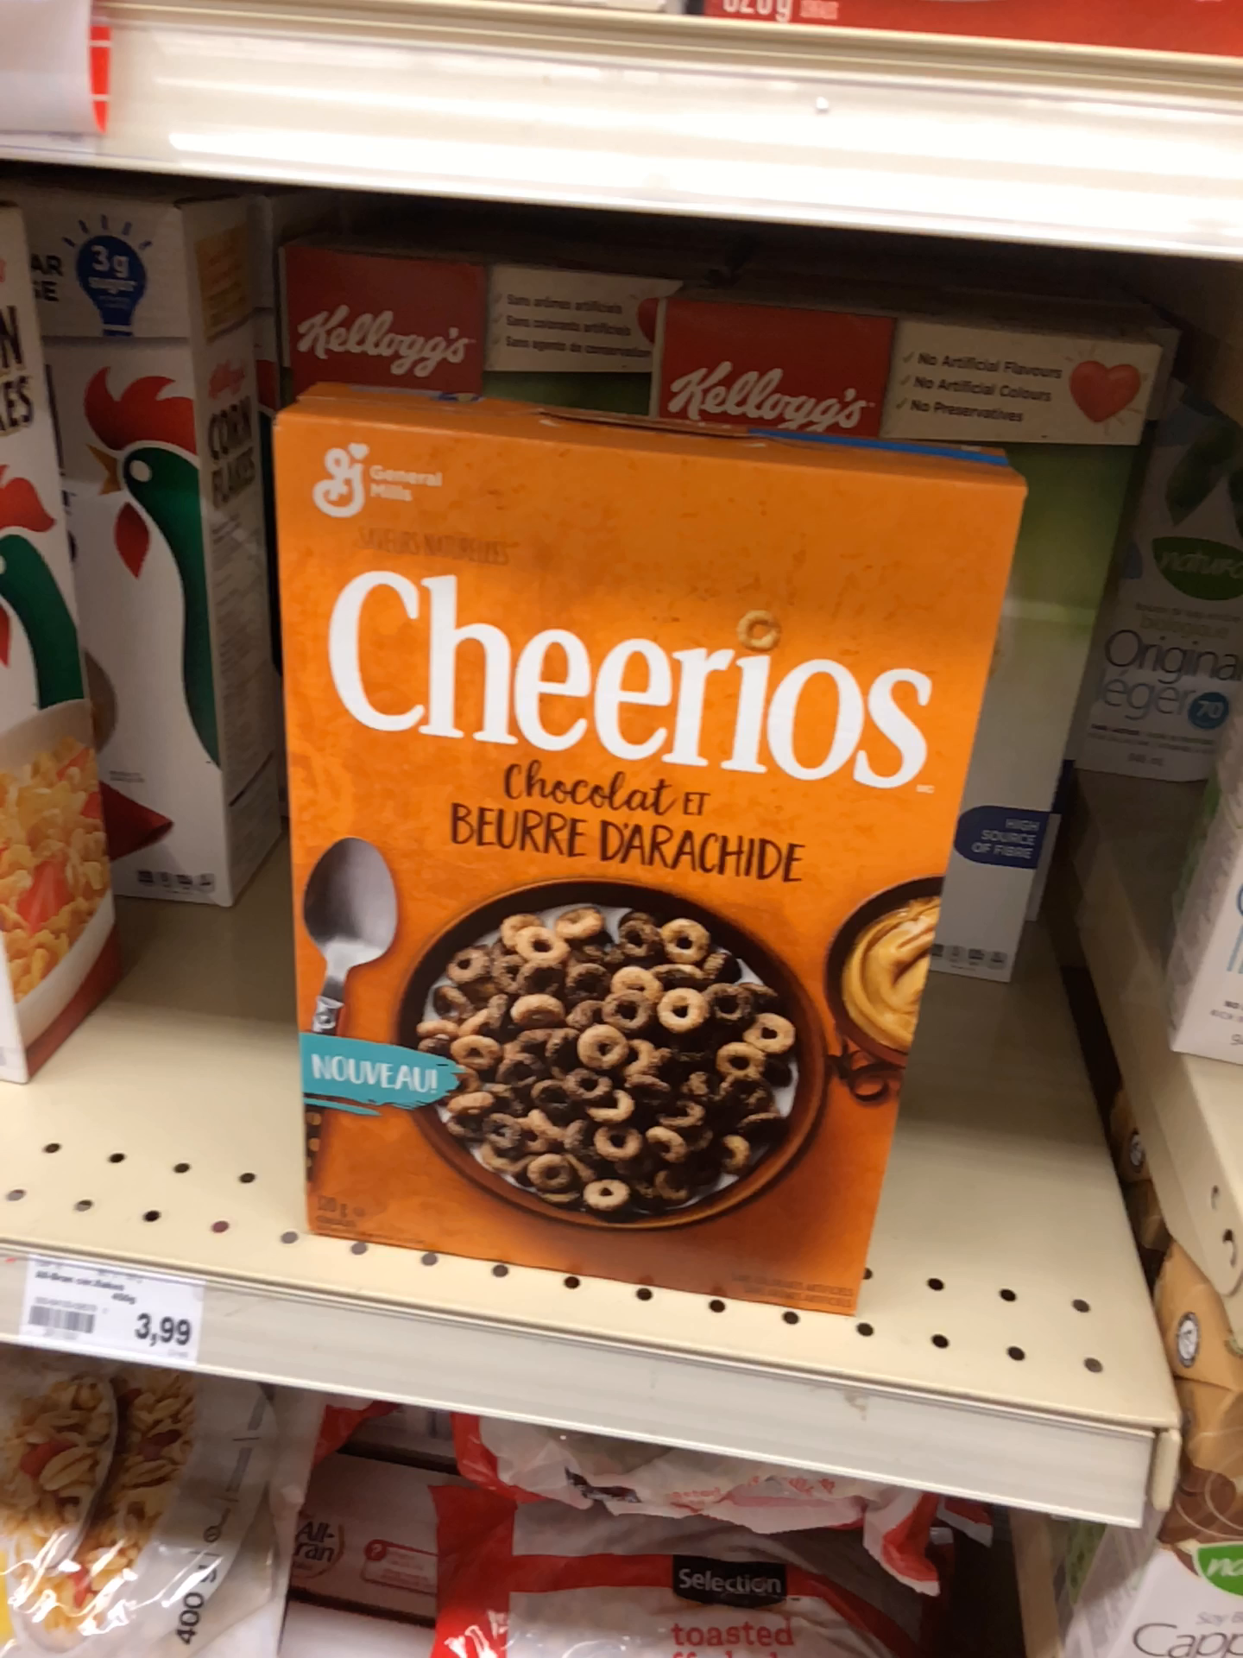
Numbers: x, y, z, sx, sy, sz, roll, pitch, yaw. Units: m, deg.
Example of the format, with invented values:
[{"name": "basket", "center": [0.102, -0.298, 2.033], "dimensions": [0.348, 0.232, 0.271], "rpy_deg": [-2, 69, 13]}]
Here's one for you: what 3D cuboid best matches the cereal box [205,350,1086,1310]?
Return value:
[{"name": "cereal box", "center": [-0.003, 0.011, 0.407], "dimensions": [0.210, 0.268, 0.050], "rpy_deg": [7, 28, 6]}]
